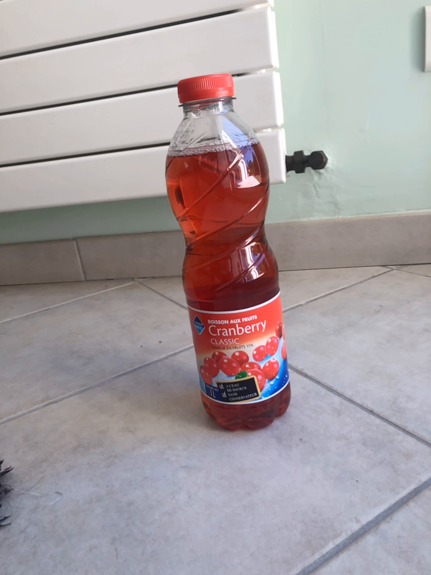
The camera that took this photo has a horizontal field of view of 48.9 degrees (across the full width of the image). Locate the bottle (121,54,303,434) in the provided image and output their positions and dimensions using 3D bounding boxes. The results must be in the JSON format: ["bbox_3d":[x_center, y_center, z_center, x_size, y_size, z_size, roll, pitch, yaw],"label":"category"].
[{"bbox_3d":[0.009,-0.024,0.361,0.090,0.259,0.080,-5,19,9],"label":"bottle"}]
